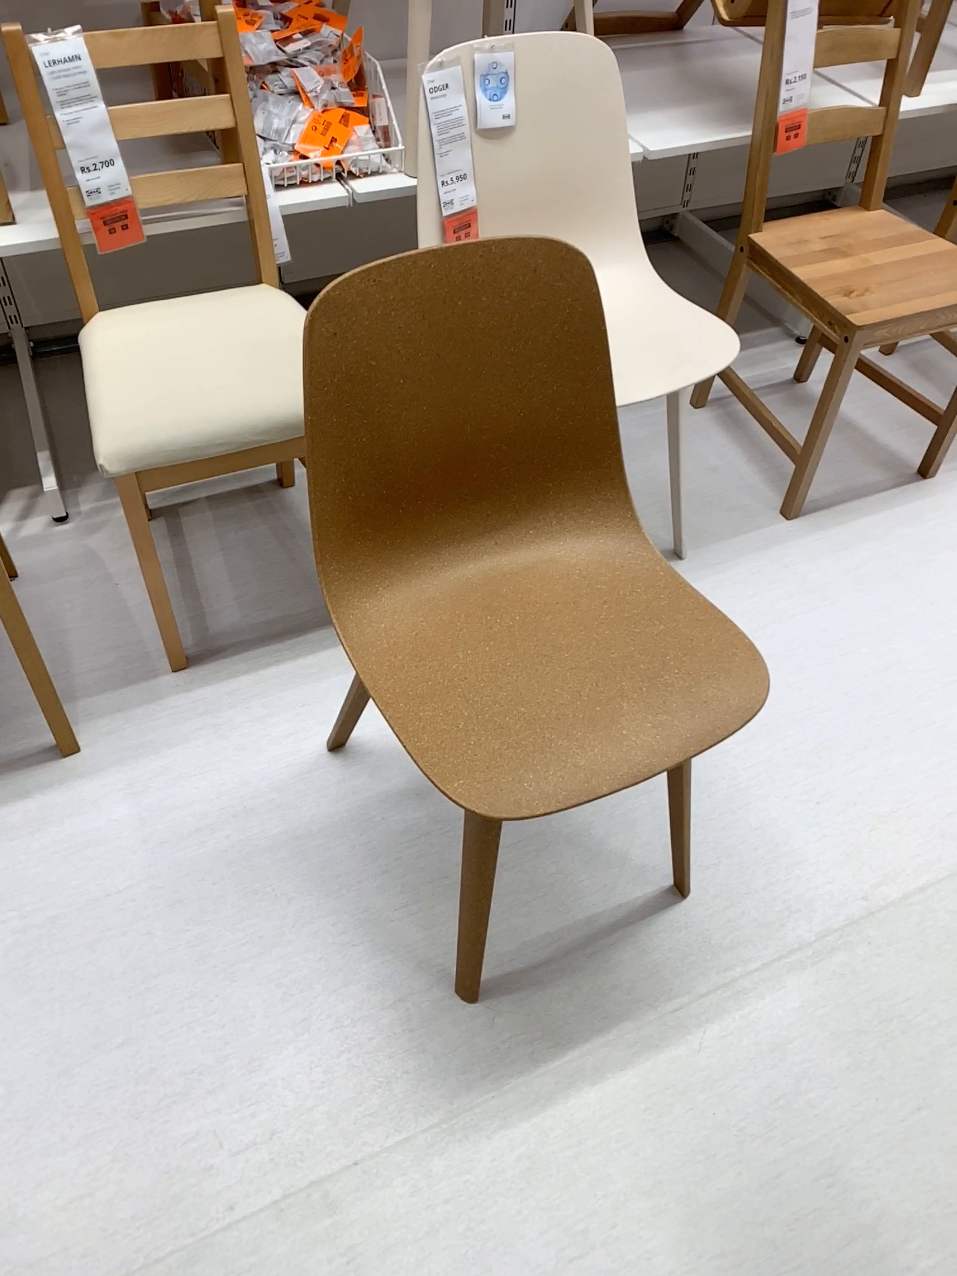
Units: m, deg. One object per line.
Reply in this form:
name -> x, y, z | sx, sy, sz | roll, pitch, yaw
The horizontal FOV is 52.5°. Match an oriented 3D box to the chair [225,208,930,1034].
chair -> 0.045, -0.008, 1.211 | 0.460, 0.757, 0.562 | -18, 51, -20
